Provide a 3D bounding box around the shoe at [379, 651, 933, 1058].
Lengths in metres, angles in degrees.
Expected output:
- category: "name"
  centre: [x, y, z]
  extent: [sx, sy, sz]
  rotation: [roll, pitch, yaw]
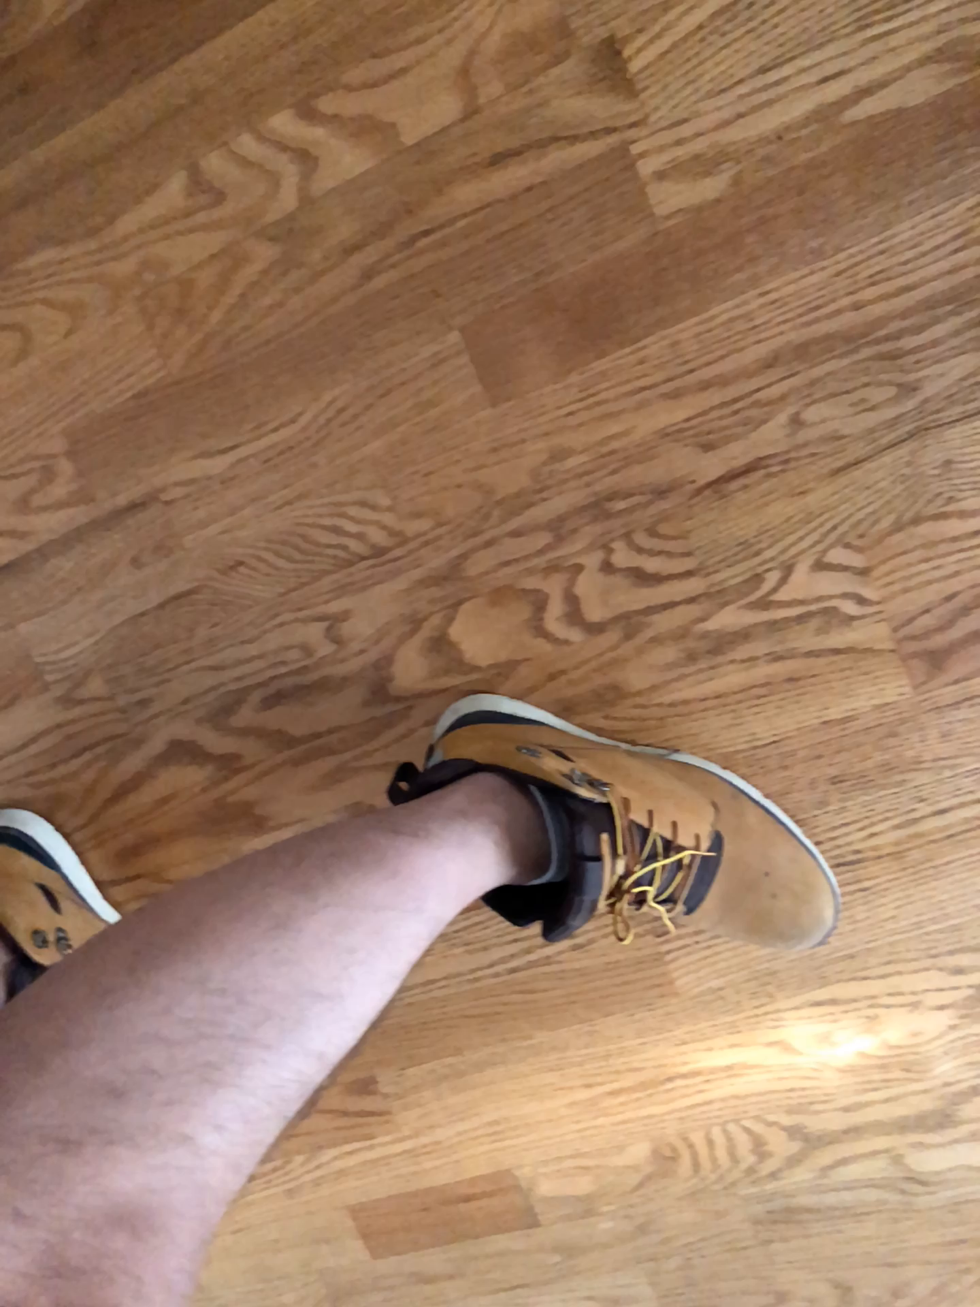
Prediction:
- category: "shoe"
  centre: [0.100, 0.128, 0.718]
  extent: [0.310, 0.150, 0.120]
  rotation: [20, 109, -6]
